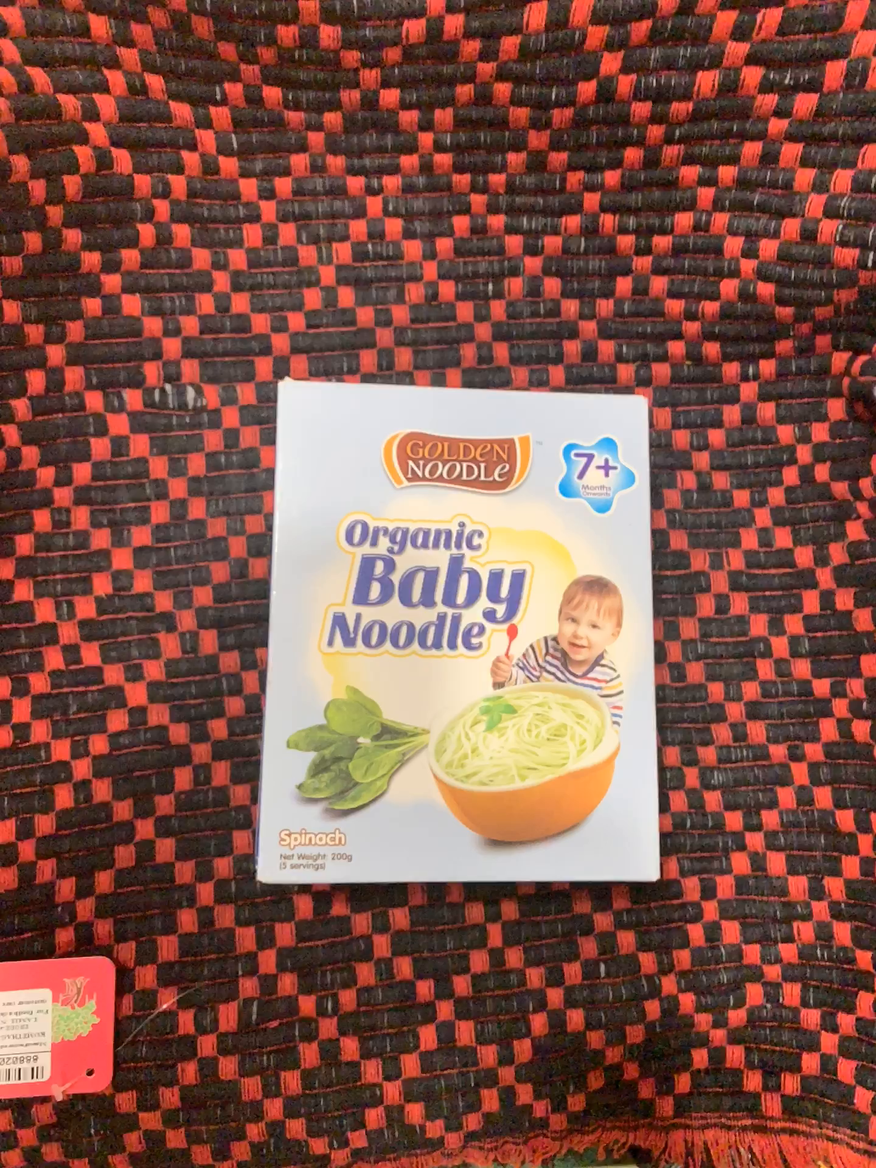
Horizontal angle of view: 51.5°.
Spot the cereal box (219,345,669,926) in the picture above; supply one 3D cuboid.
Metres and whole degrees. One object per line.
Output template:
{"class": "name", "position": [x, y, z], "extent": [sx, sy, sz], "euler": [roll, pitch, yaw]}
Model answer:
{"class": "cereal box", "position": [0.001, 0.016, 0.297], "extent": [0.130, 0.050, 0.170], "euler": [1, 82, -6]}
